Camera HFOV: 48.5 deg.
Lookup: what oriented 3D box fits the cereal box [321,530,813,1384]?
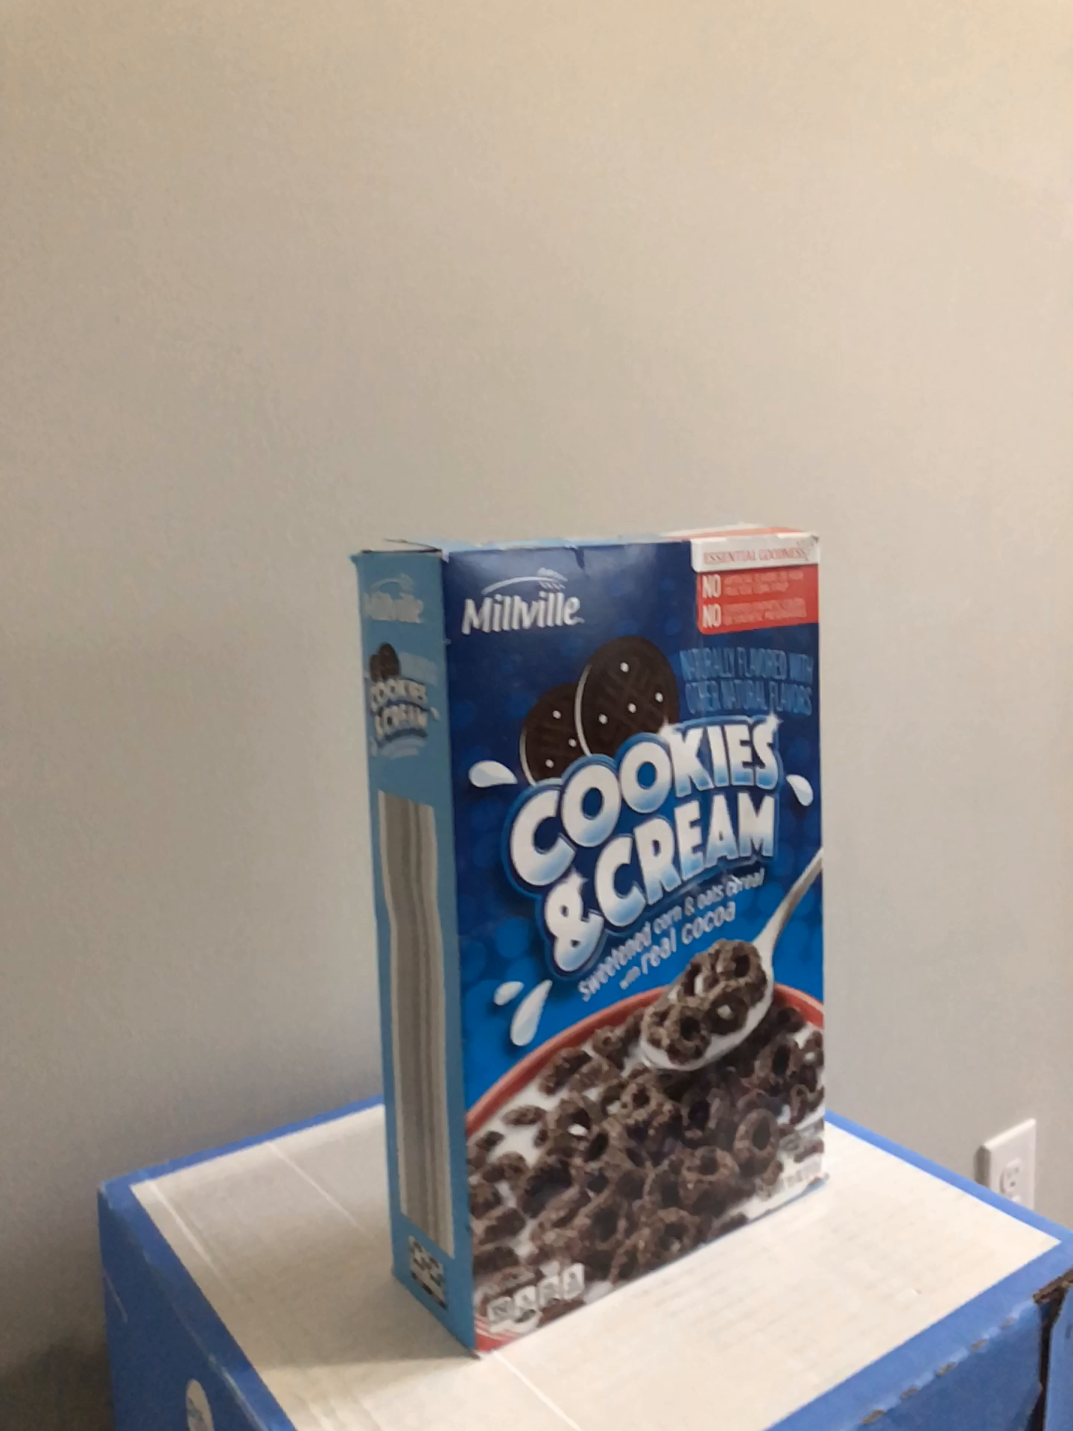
[{"bbox_3d":[0.024,0.080,0.510,0.200,0.310,0.070,-8,9,-36],"label":"cereal box"}]
